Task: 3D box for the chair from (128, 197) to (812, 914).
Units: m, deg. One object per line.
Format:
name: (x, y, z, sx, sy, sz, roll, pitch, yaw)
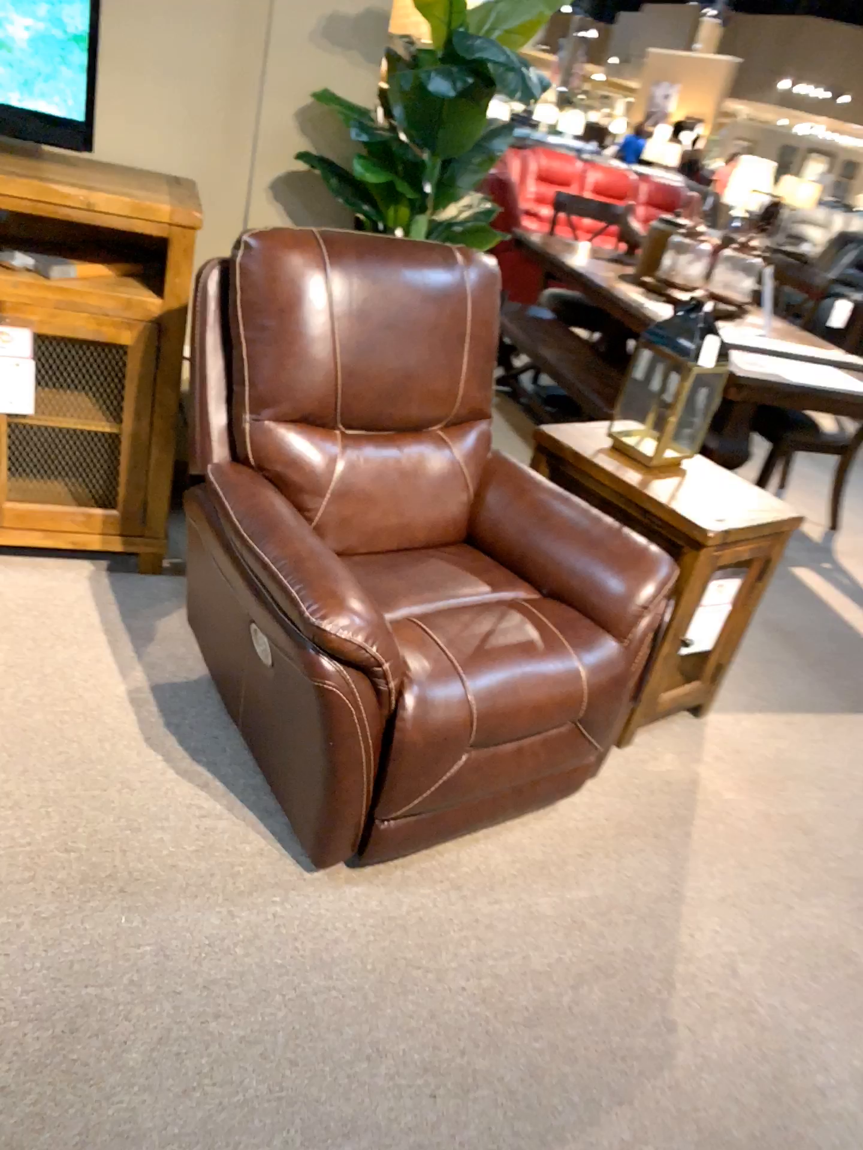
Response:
chair: (-0.029, -0.112, 1.851, 0.850, 0.974, 0.915, -8, 36, -36)
